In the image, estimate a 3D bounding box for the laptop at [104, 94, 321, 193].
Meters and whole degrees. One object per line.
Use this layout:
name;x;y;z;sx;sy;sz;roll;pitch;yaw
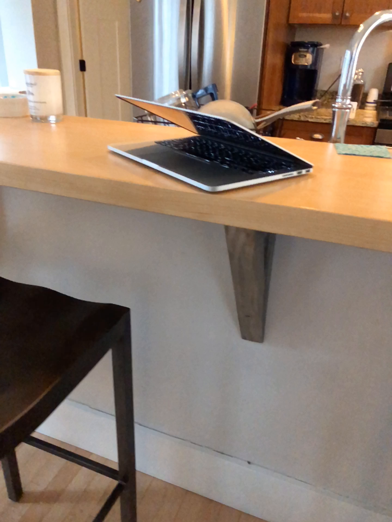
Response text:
laptop;0.012;-0.210;0.710;0.211;0.084;0.300;-17;32;-33
